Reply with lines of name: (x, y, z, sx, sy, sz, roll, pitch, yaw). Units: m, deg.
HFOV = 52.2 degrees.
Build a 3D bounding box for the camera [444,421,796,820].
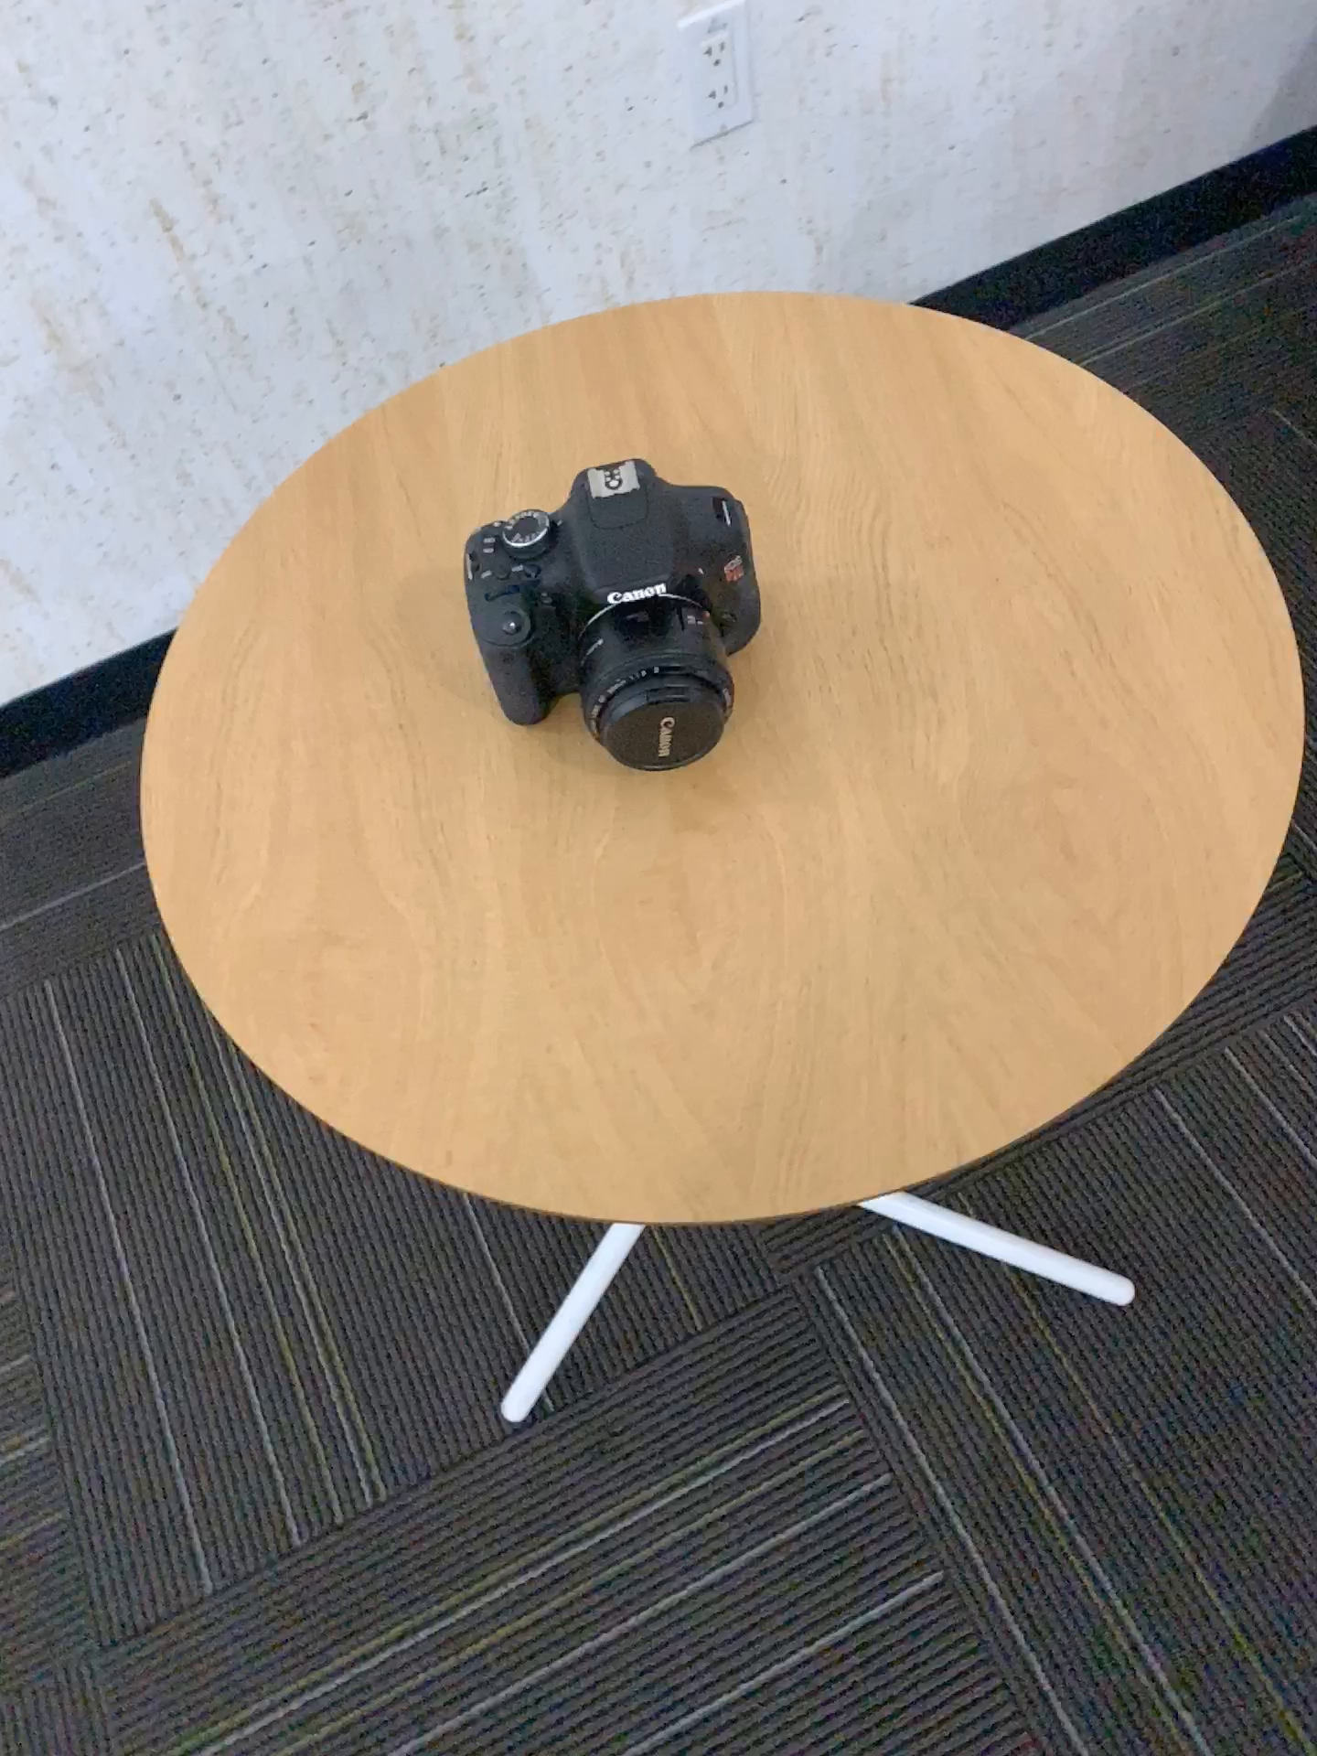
camera: (-0.016, -0.114, 0.607, 0.130, 0.100, 0.117, -12, 59, 1)
